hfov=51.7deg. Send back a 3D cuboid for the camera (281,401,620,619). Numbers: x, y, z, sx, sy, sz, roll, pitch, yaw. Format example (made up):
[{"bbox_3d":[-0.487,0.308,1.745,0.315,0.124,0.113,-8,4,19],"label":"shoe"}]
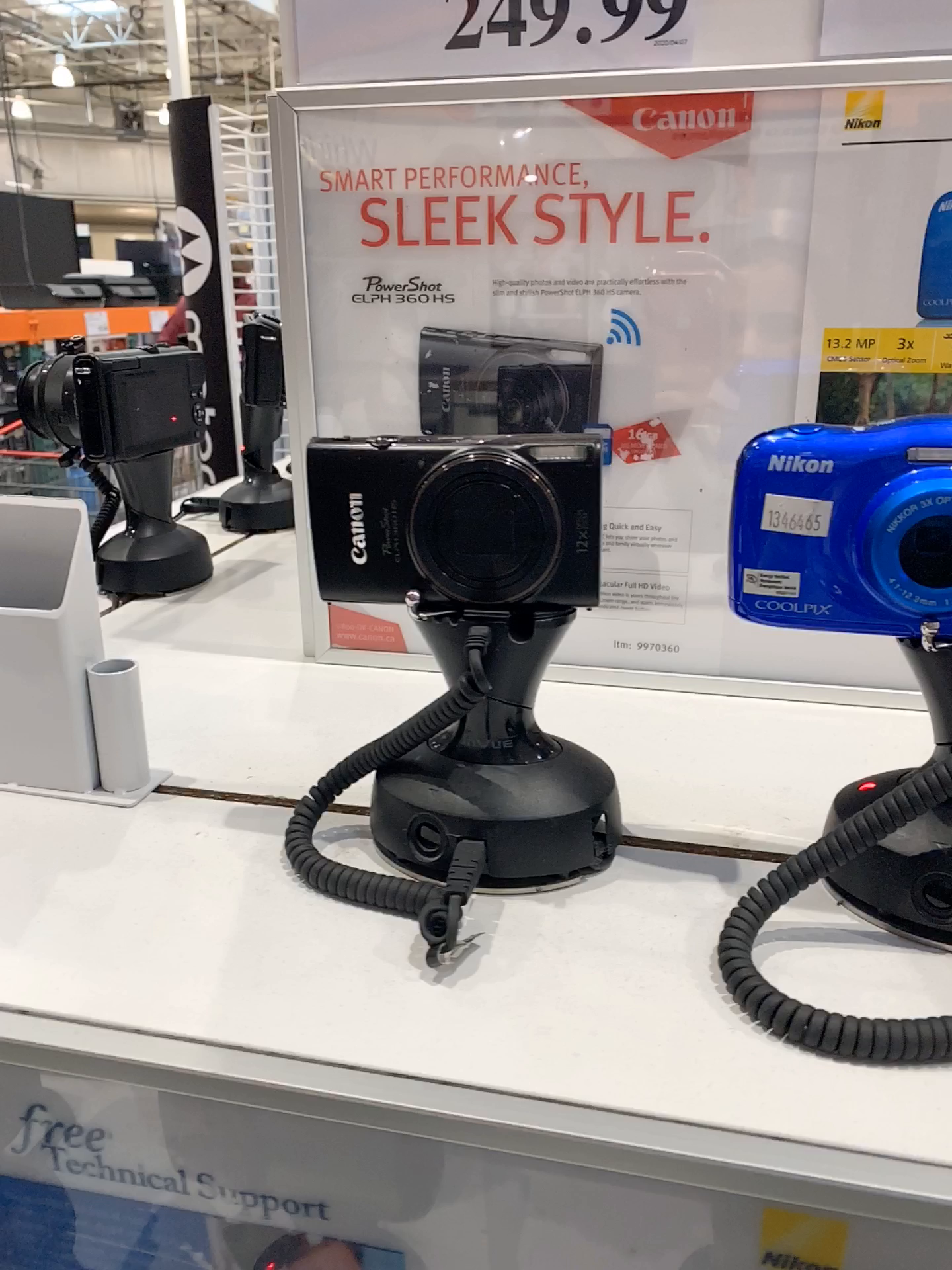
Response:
[{"bbox_3d":[-0.006,-0.042,0.314,0.100,0.060,0.040,2,18,7],"label":"camera"}]
